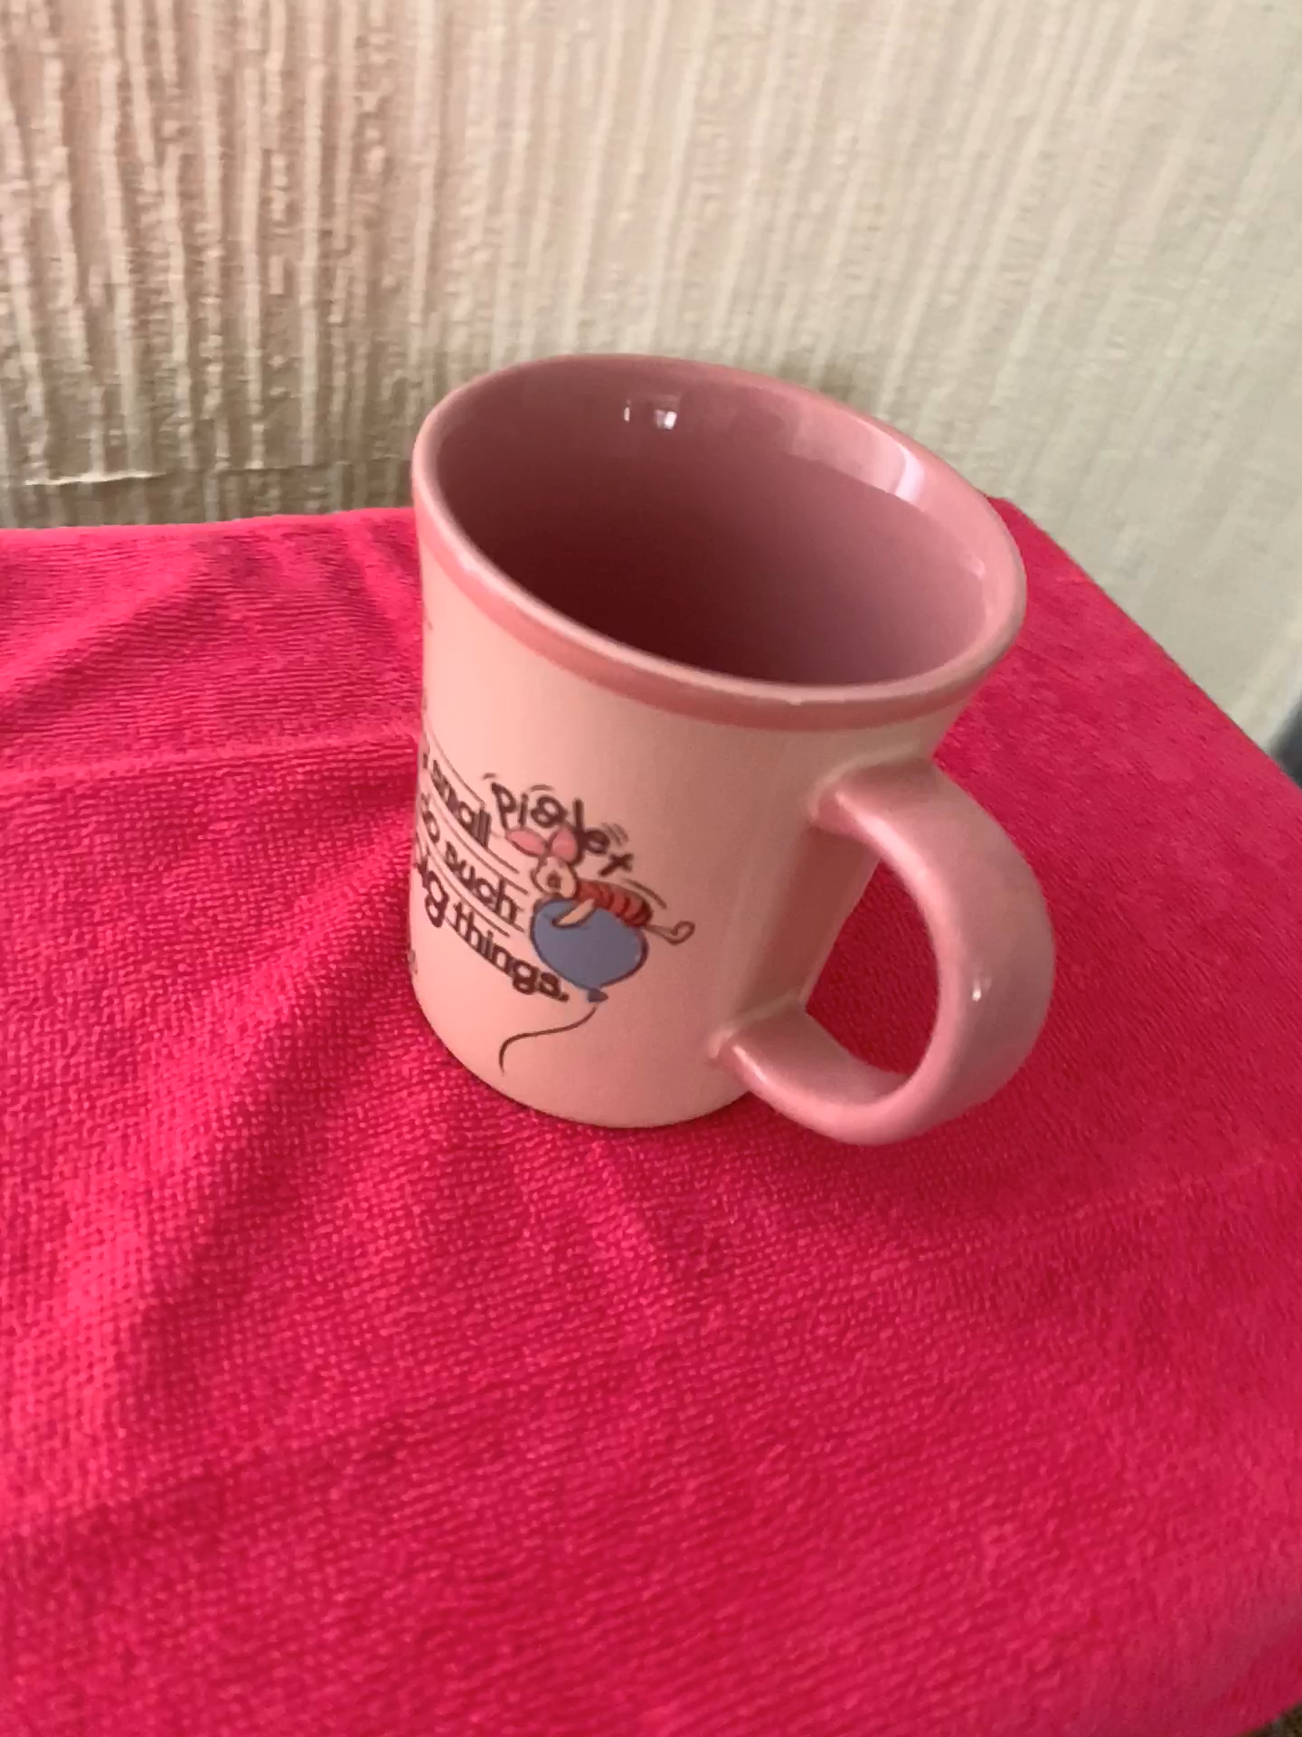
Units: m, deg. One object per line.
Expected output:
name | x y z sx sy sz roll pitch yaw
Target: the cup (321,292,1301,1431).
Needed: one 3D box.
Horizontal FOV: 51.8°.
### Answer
cup | 0.012 -0.010 0.217 0.090 0.109 0.131 -13 50 -26
